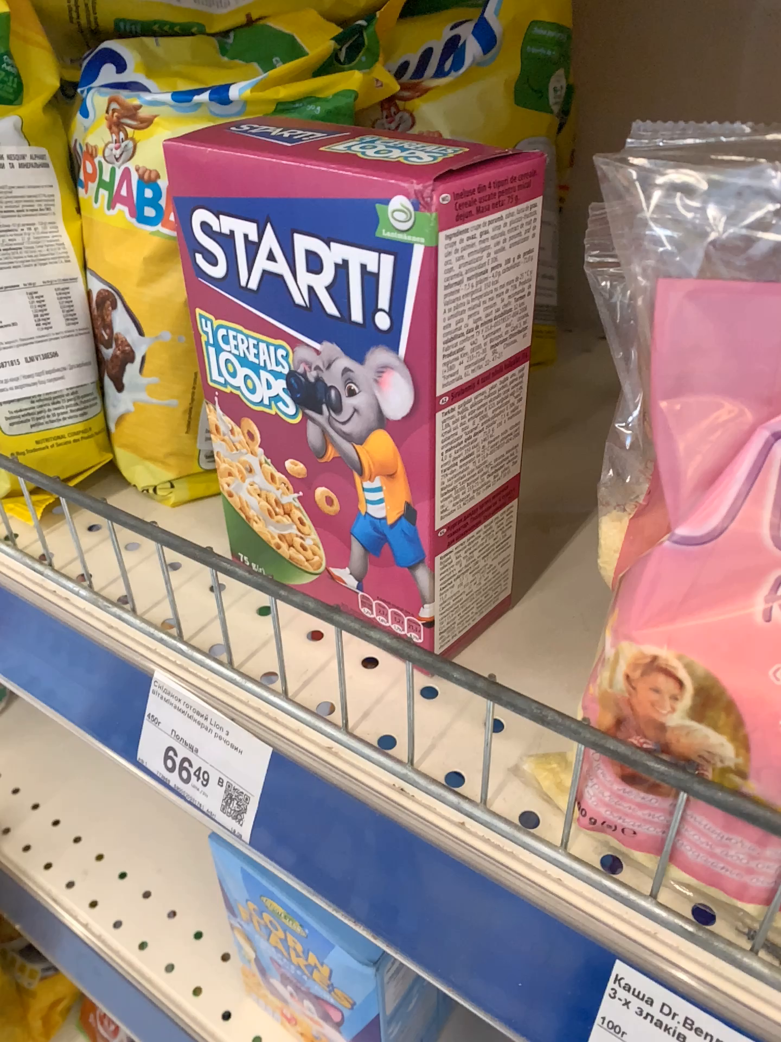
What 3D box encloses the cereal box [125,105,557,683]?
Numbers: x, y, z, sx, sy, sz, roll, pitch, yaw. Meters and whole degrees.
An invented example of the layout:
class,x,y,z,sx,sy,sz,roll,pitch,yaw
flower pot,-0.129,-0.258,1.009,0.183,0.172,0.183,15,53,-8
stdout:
class,x,y,z,sx,sy,sz,roll,pitch,yaw
cereal box,-0.016,-0.044,0.274,0.120,0.159,0.050,25,43,33
